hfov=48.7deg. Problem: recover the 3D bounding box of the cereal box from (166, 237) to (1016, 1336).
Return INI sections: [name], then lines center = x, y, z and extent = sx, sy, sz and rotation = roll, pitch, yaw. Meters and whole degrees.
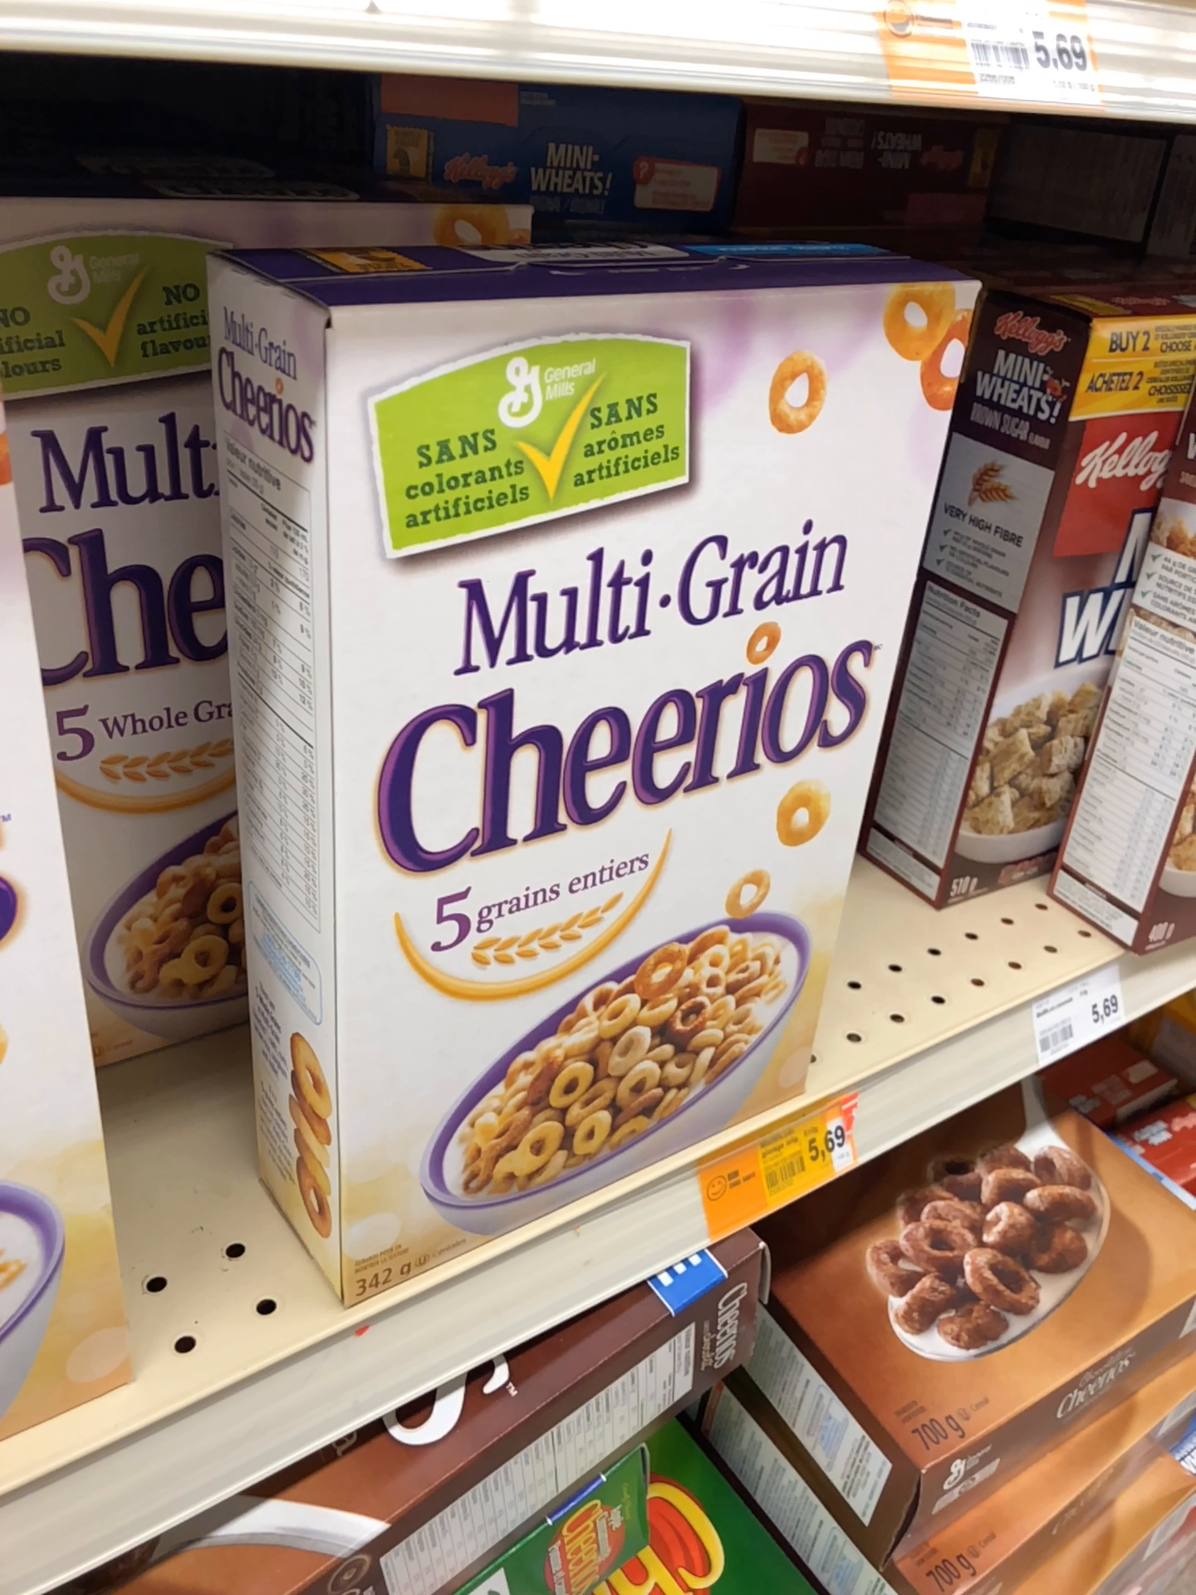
[cereal box]
center = -0.004, -0.005, 0.377
extent = 0.201, 0.278, 0.060
rotation = -15, 36, -32
